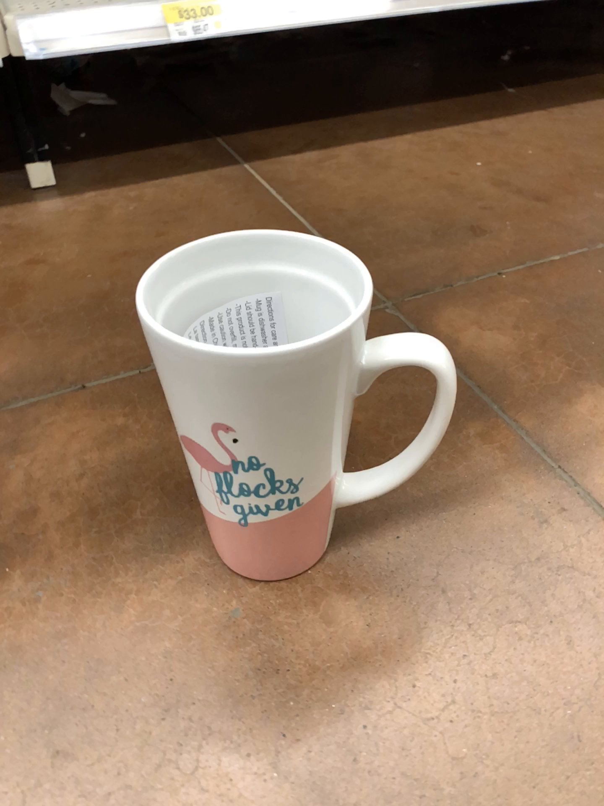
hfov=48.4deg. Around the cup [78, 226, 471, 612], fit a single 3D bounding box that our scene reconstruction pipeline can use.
[{"bbox_3d":[-0.005,0.008,0.304,0.130,0.139,0.100,1,40,4],"label":"cup"}]
